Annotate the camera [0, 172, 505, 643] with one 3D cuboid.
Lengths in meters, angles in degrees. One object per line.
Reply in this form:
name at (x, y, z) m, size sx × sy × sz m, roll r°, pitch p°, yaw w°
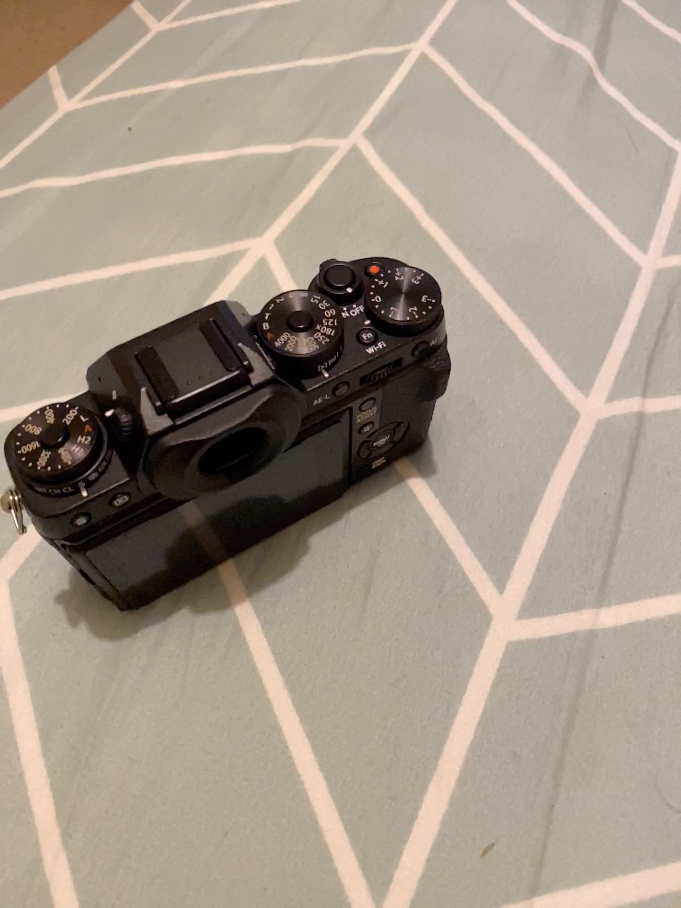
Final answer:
camera at (-0.031, -0.012, 0.218) m, size 0.142 × 0.082 × 0.054 m, roll -28°, pitch 65°, yaw -15°
